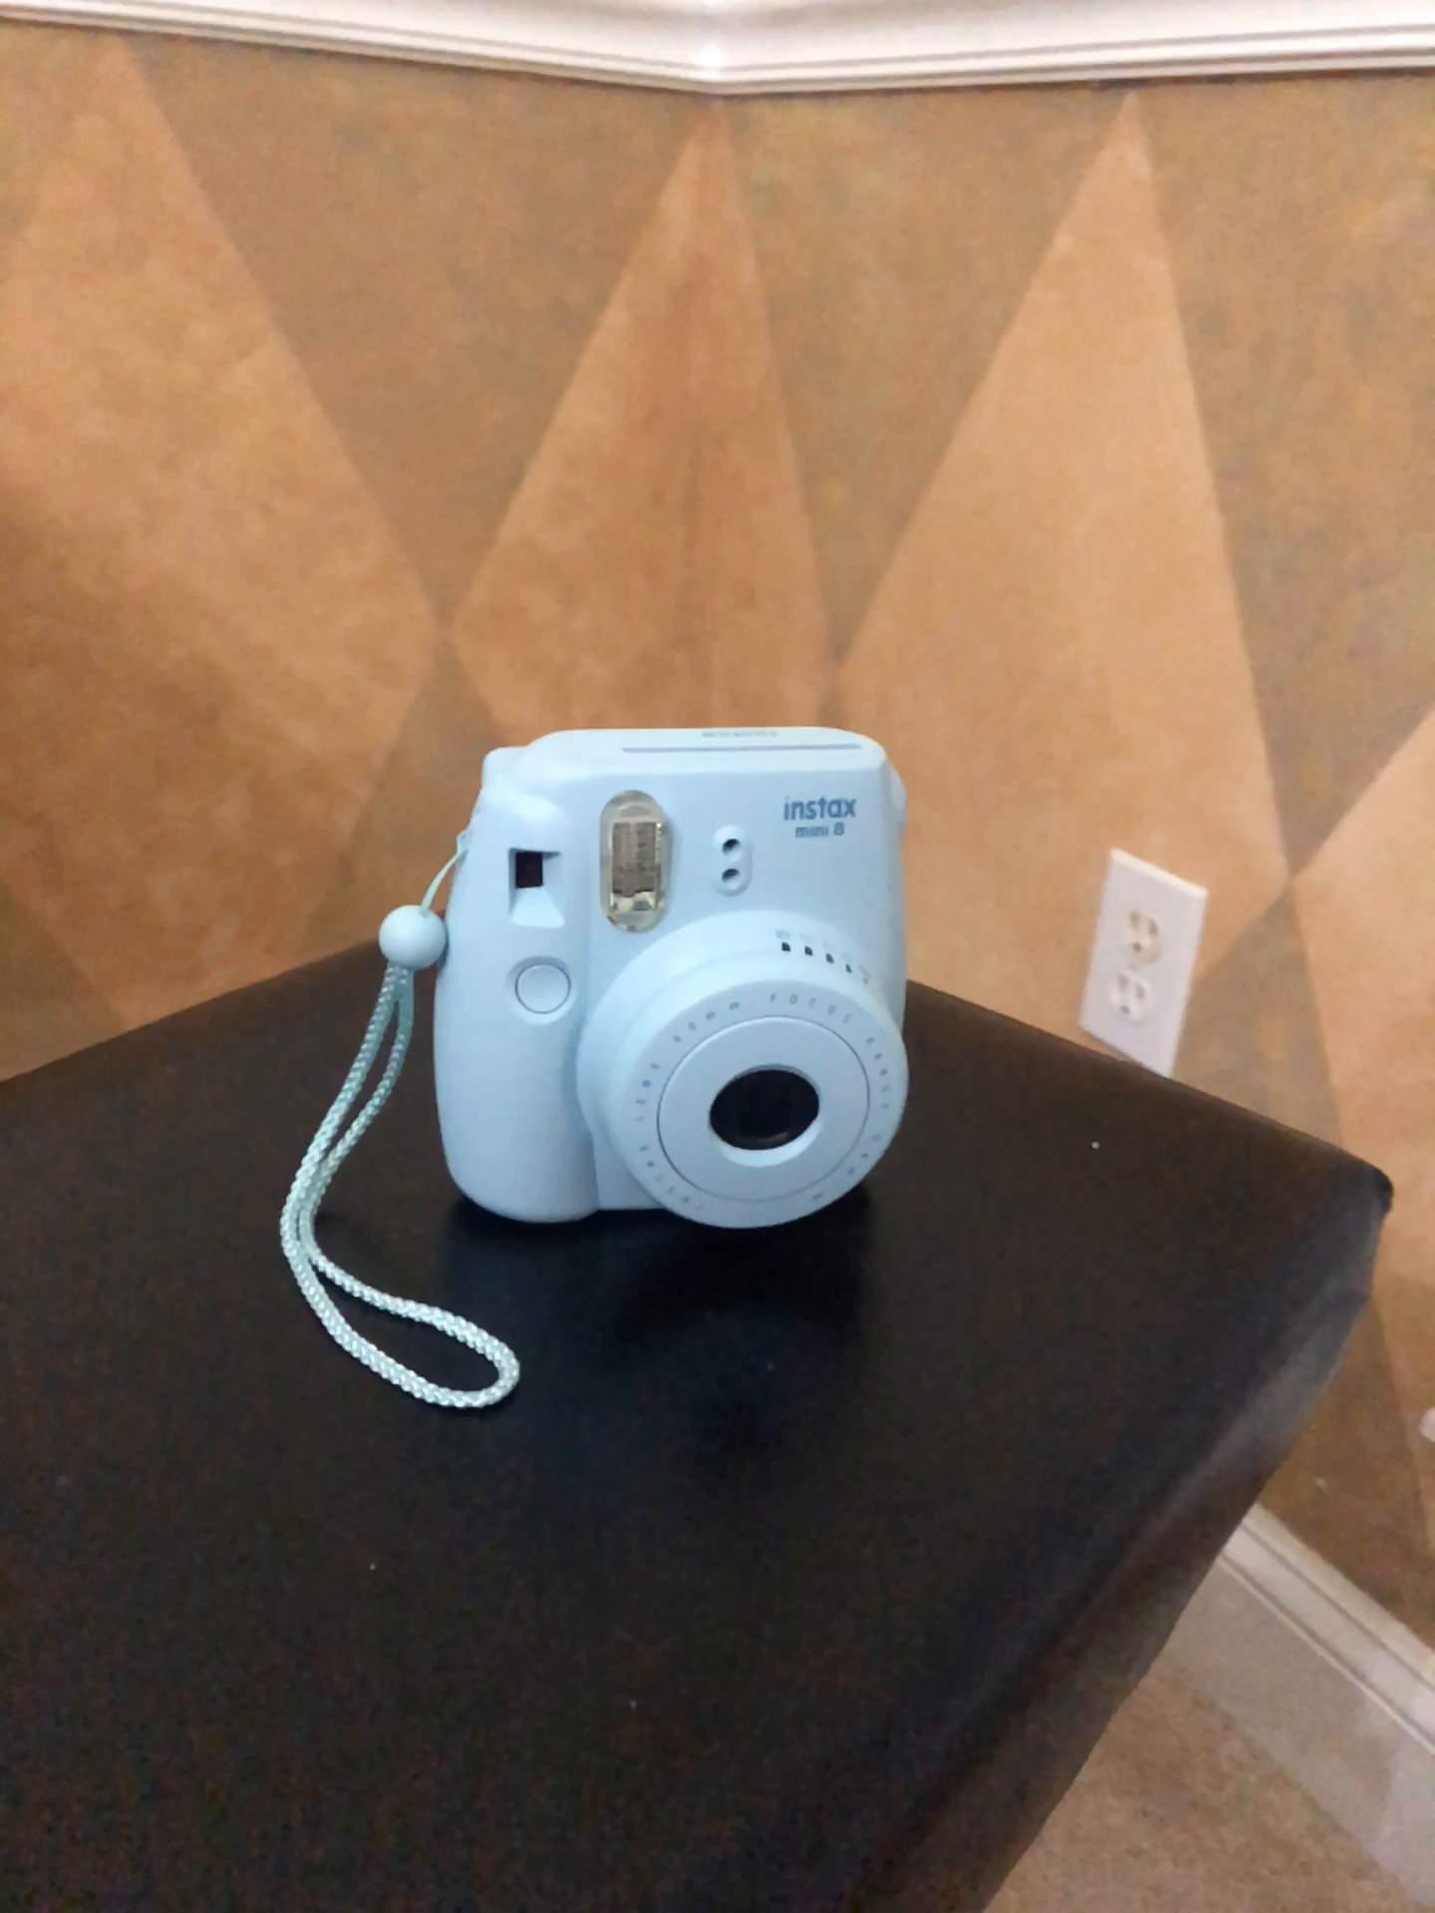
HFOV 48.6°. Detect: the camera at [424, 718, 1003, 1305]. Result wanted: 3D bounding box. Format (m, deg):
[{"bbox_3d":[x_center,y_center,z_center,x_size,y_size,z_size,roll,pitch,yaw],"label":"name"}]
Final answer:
[{"bbox_3d":[-0.007,0.010,0.385,0.120,0.118,0.068,-2,25,-13],"label":"camera"}]
